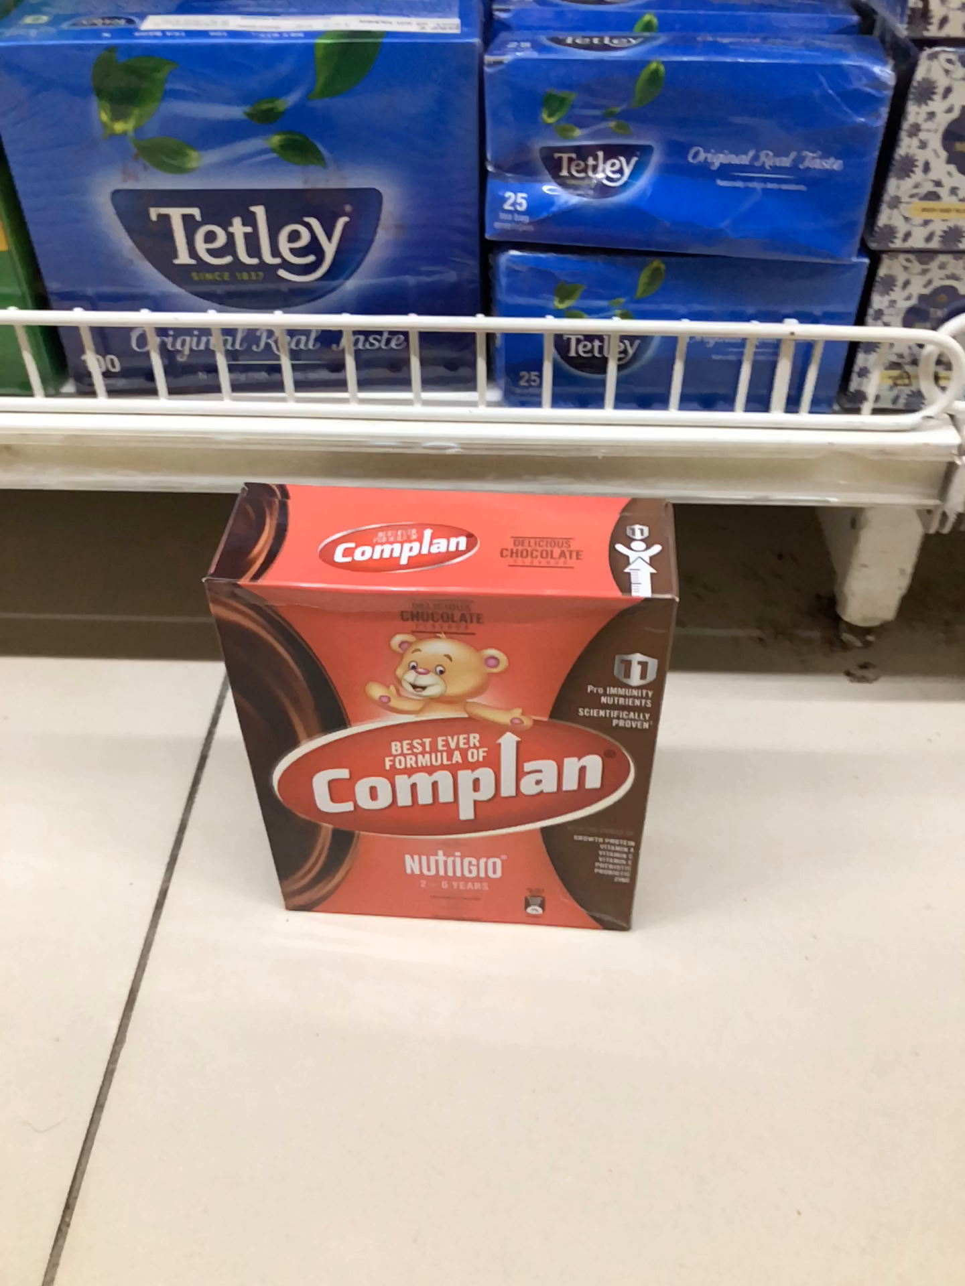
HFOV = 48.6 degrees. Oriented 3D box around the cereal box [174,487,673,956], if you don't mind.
[{"bbox_3d":[-0.014,0.036,0.377,0.140,0.179,0.050,3,44,4],"label":"cereal box"}]
